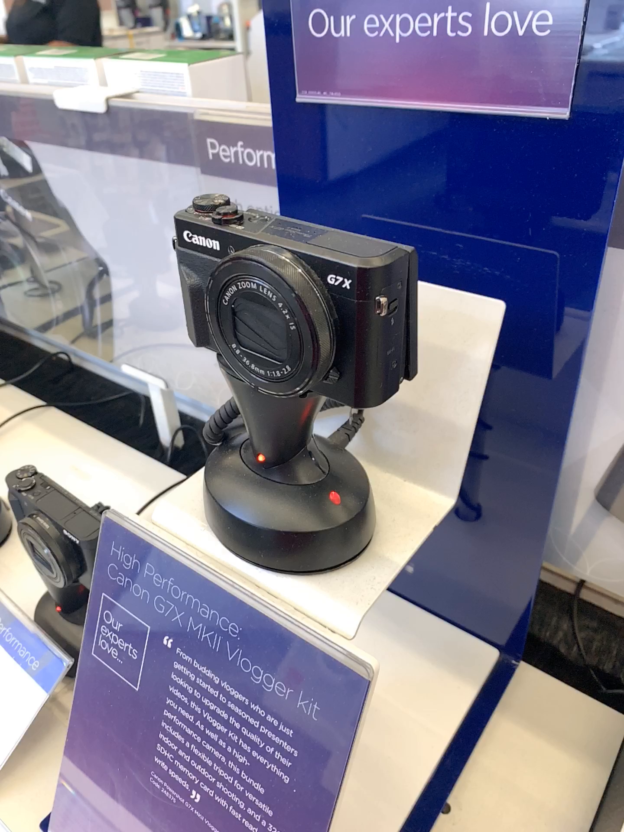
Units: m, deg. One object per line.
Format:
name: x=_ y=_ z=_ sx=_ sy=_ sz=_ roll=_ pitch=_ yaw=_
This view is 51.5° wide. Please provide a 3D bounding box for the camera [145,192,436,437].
camera: x=-0.011 y=-0.044 z=0.250 sx=0.109 sy=0.059 sz=0.038 roll=24 pitch=41 yaw=34
